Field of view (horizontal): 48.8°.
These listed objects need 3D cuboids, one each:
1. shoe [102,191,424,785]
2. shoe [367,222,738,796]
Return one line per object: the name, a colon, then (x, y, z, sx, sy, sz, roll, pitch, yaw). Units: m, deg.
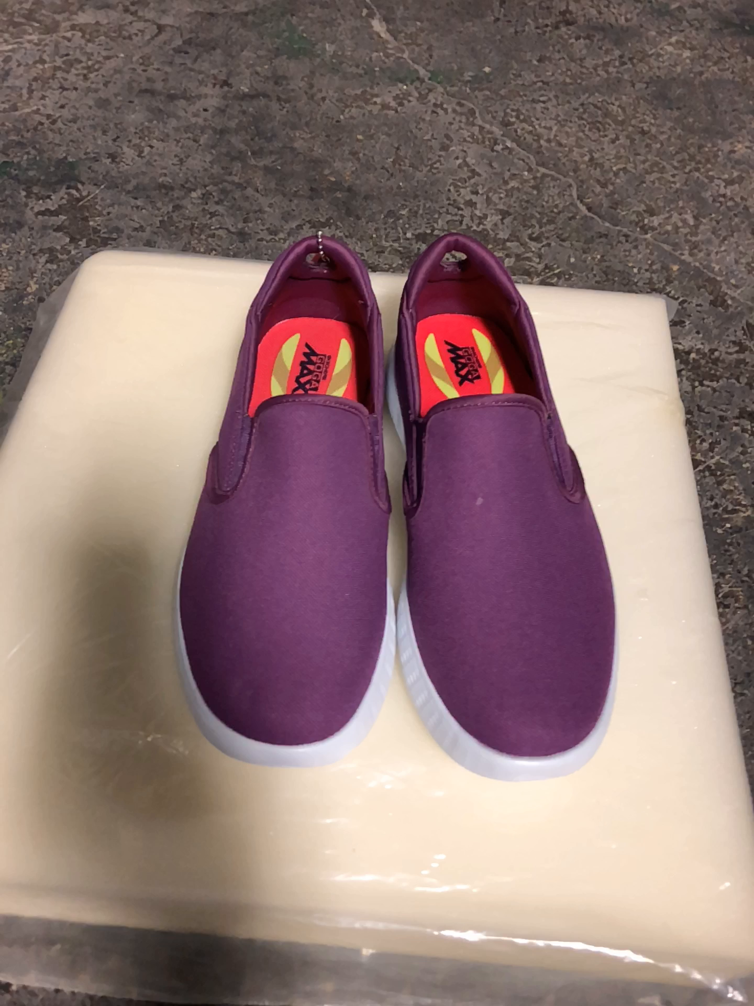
shoe: (-0.036, -0.021, 0.371, 0.100, 0.089, 0.262, 2, 54, -2)
shoe: (0.054, -0.010, 0.364, 0.100, 0.089, 0.242, -2, 54, -4)
